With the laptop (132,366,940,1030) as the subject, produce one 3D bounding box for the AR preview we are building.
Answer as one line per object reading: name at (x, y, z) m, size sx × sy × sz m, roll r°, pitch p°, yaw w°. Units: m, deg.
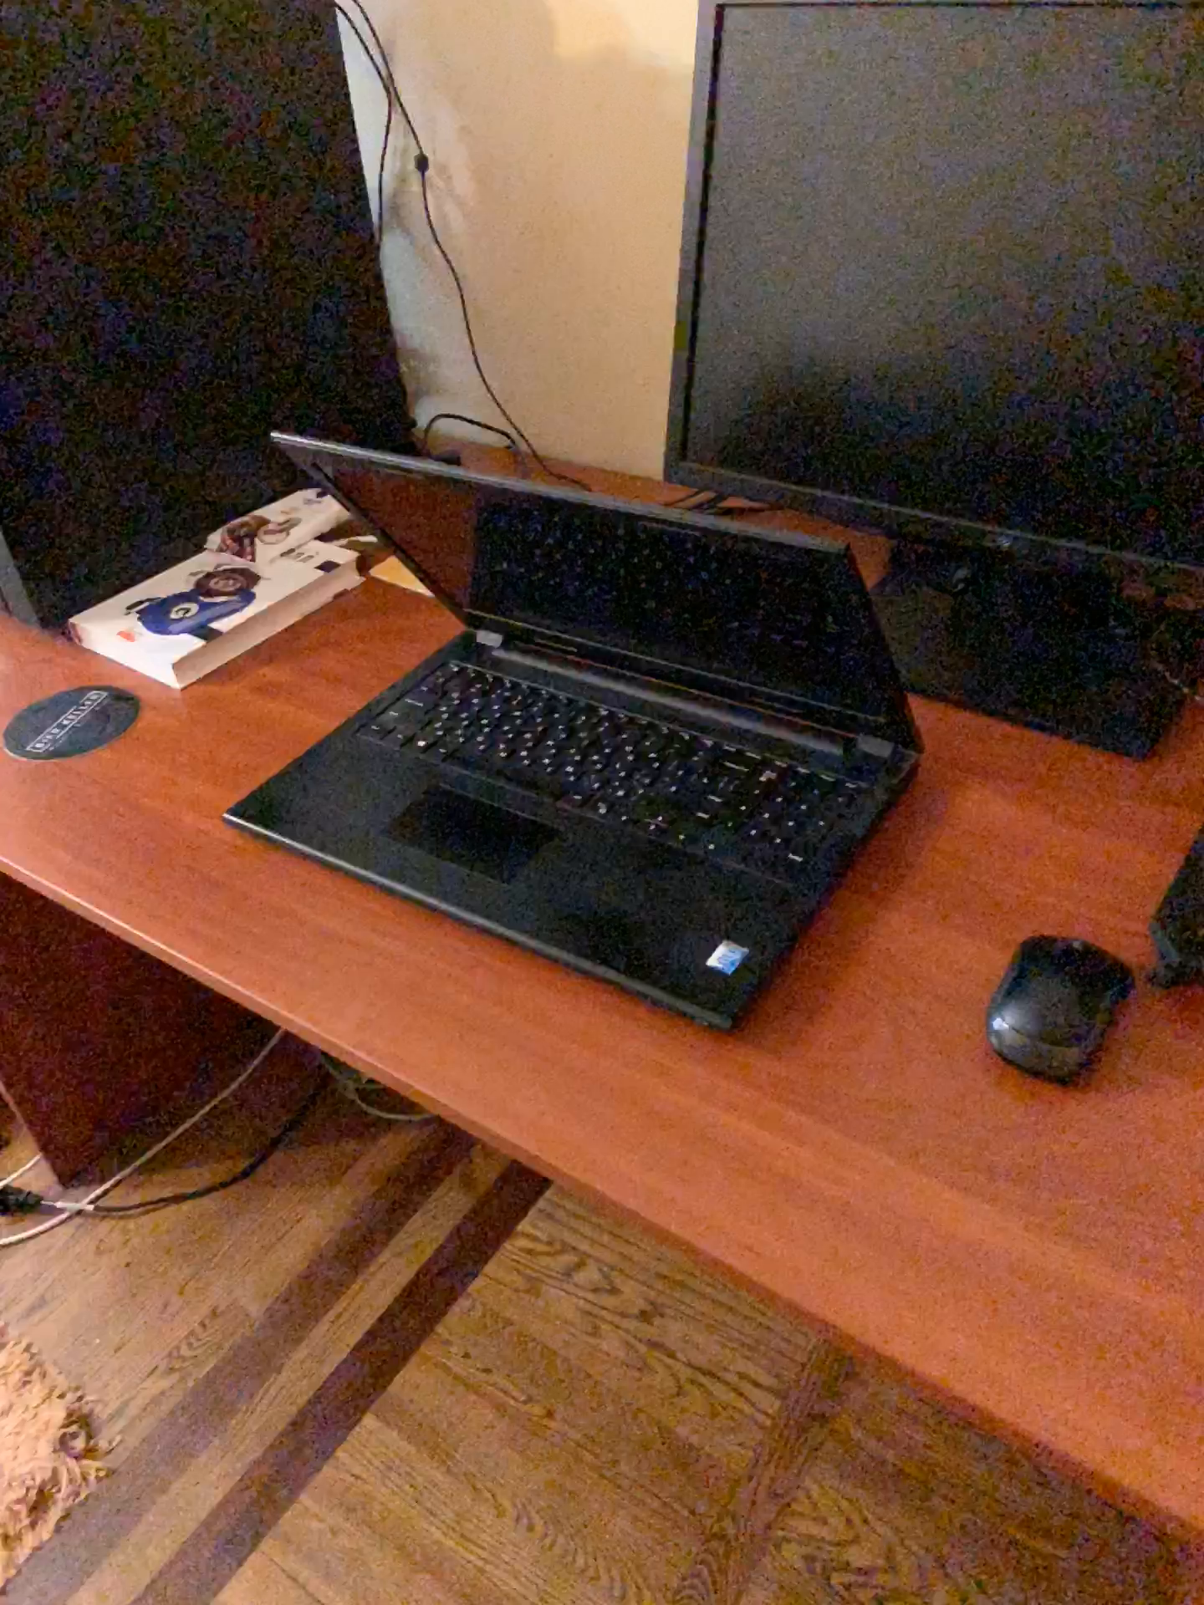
laptop at (-0.031, -0.092, 0.733) m, size 0.373 × 0.212 × 0.254 m, roll 19°, pitch 44°, yaw 28°
